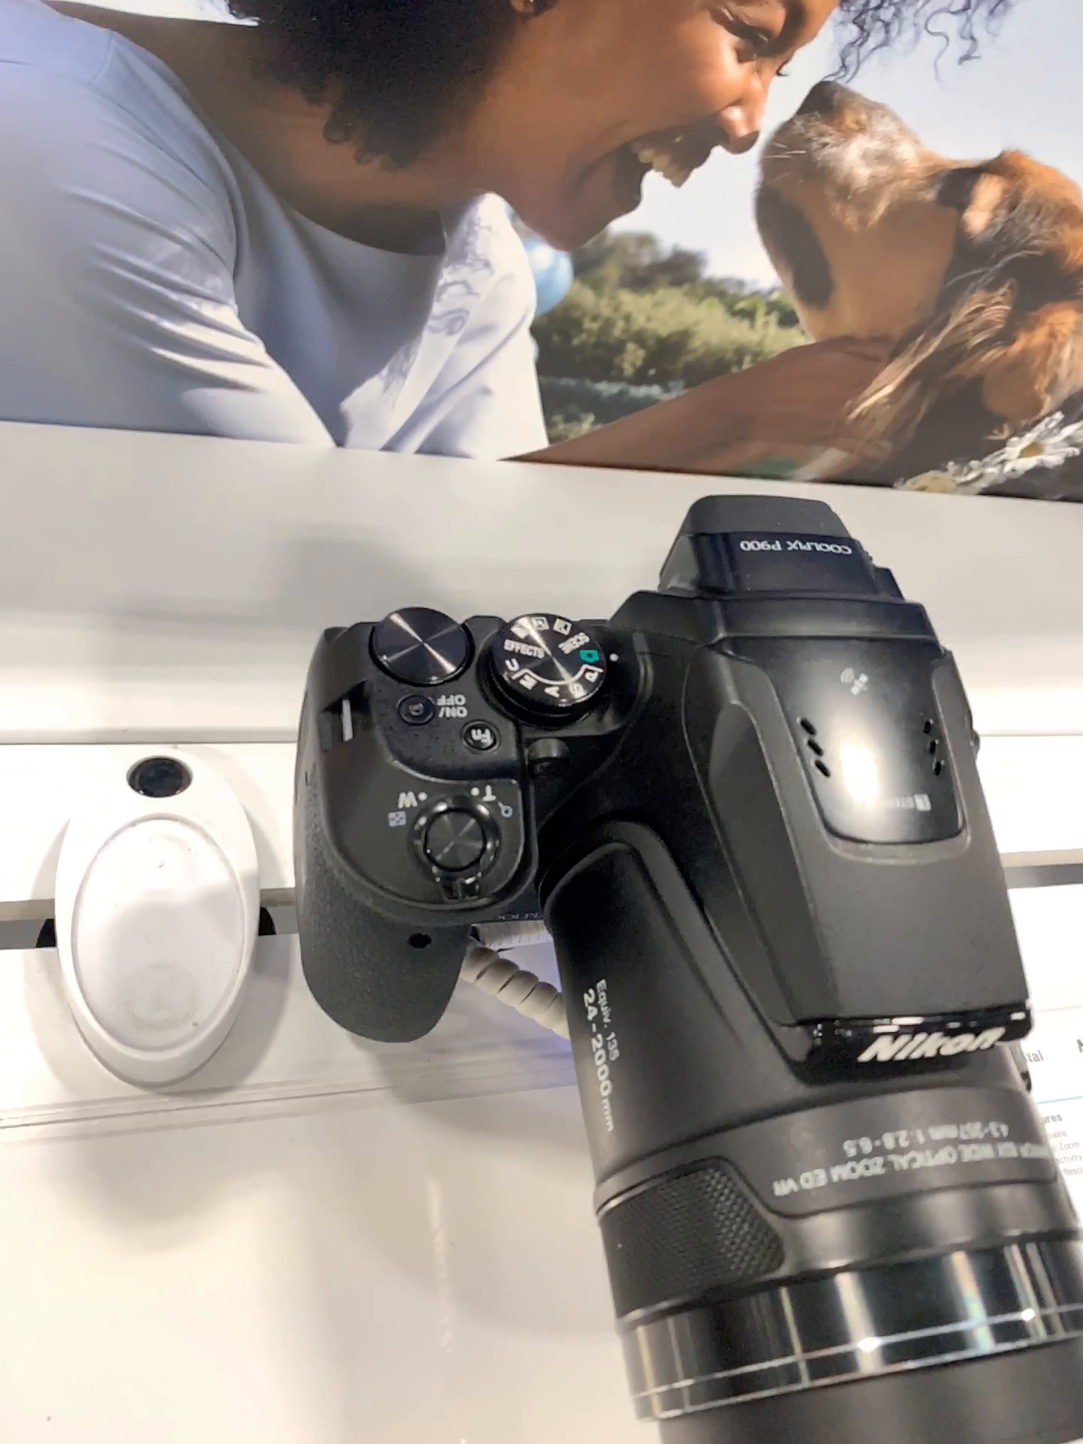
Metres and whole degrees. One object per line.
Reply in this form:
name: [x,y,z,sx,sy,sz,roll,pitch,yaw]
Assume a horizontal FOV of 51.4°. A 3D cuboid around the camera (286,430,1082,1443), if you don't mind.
camera: [0.035,0.044,0.201,0.140,0.100,0.153,1,53,-19]
